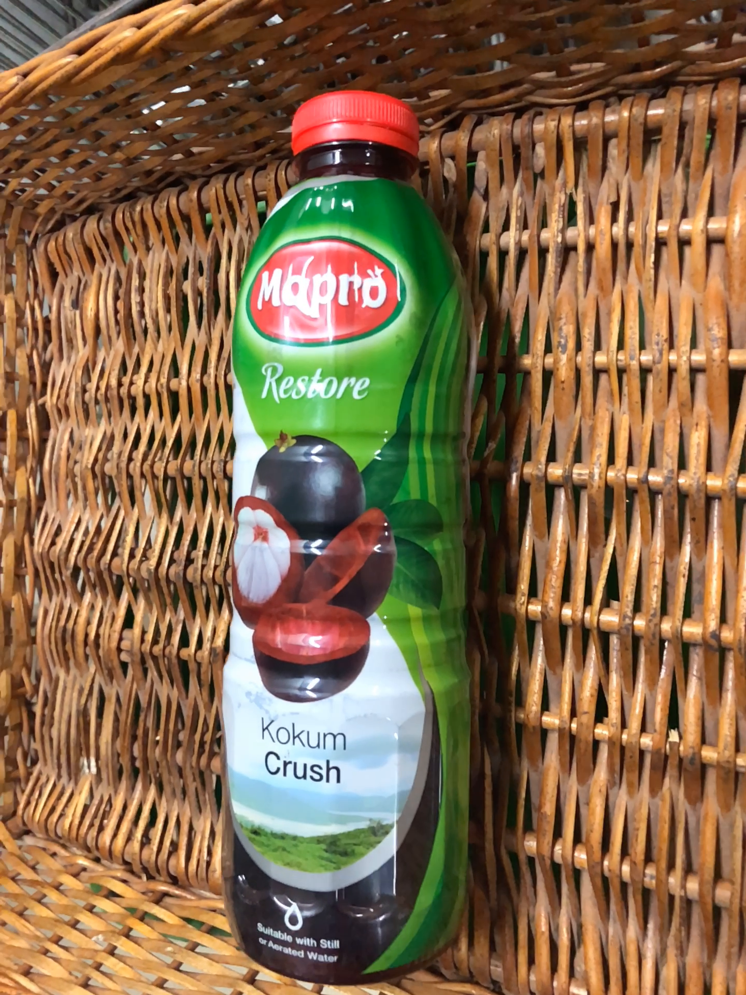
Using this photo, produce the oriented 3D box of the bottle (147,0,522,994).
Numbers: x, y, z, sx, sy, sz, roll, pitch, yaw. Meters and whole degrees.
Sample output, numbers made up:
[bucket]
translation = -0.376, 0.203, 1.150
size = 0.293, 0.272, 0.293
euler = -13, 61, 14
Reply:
[bottle]
translation = -0.007, -0.004, 0.252
size = 0.080, 0.080, 0.270
euler = 1, 89, 26
